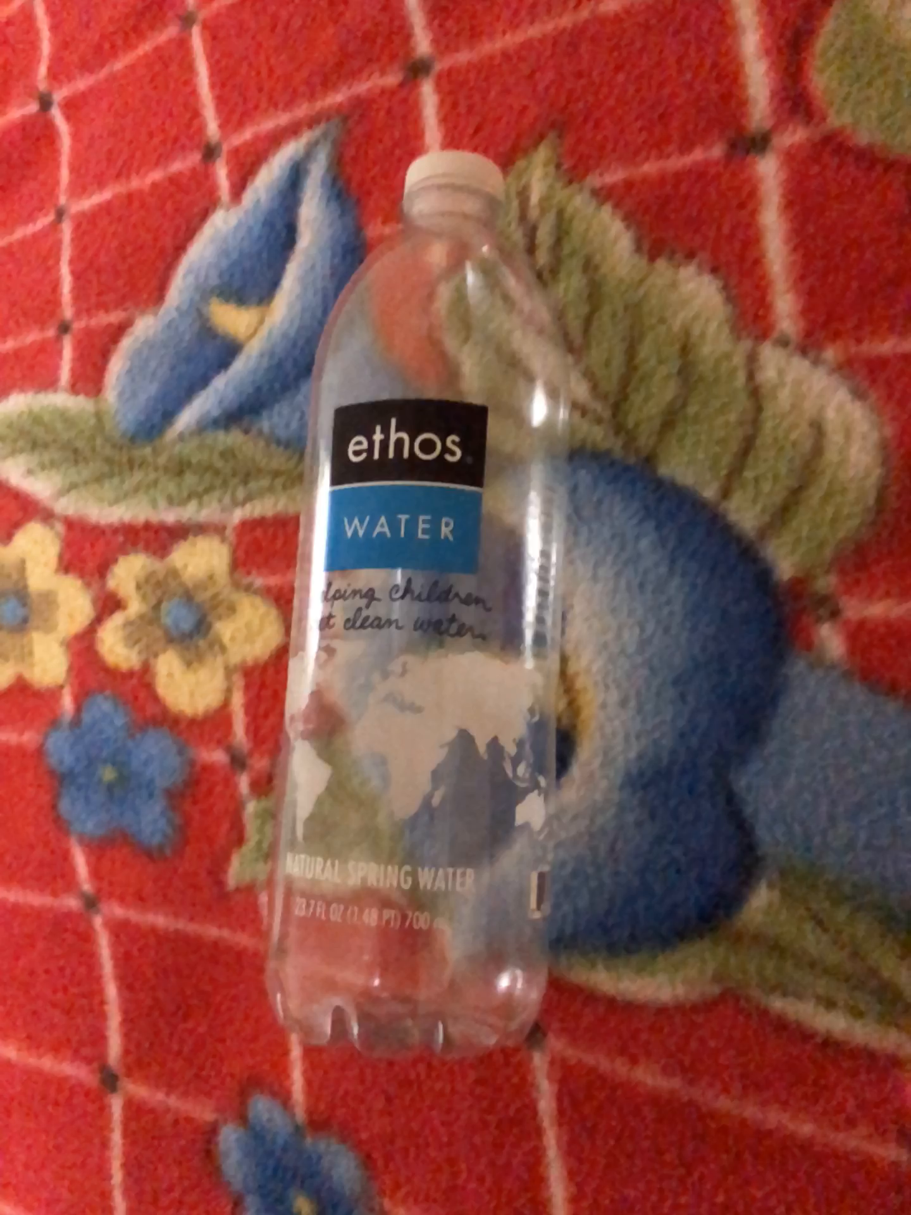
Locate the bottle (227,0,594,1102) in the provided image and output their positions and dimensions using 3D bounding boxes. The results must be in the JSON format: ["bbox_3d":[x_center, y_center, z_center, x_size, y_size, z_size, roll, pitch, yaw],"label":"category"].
[{"bbox_3d":[-0.004,-0.015,0.260,0.070,0.070,0.240,0,83,12],"label":"bottle"}]
